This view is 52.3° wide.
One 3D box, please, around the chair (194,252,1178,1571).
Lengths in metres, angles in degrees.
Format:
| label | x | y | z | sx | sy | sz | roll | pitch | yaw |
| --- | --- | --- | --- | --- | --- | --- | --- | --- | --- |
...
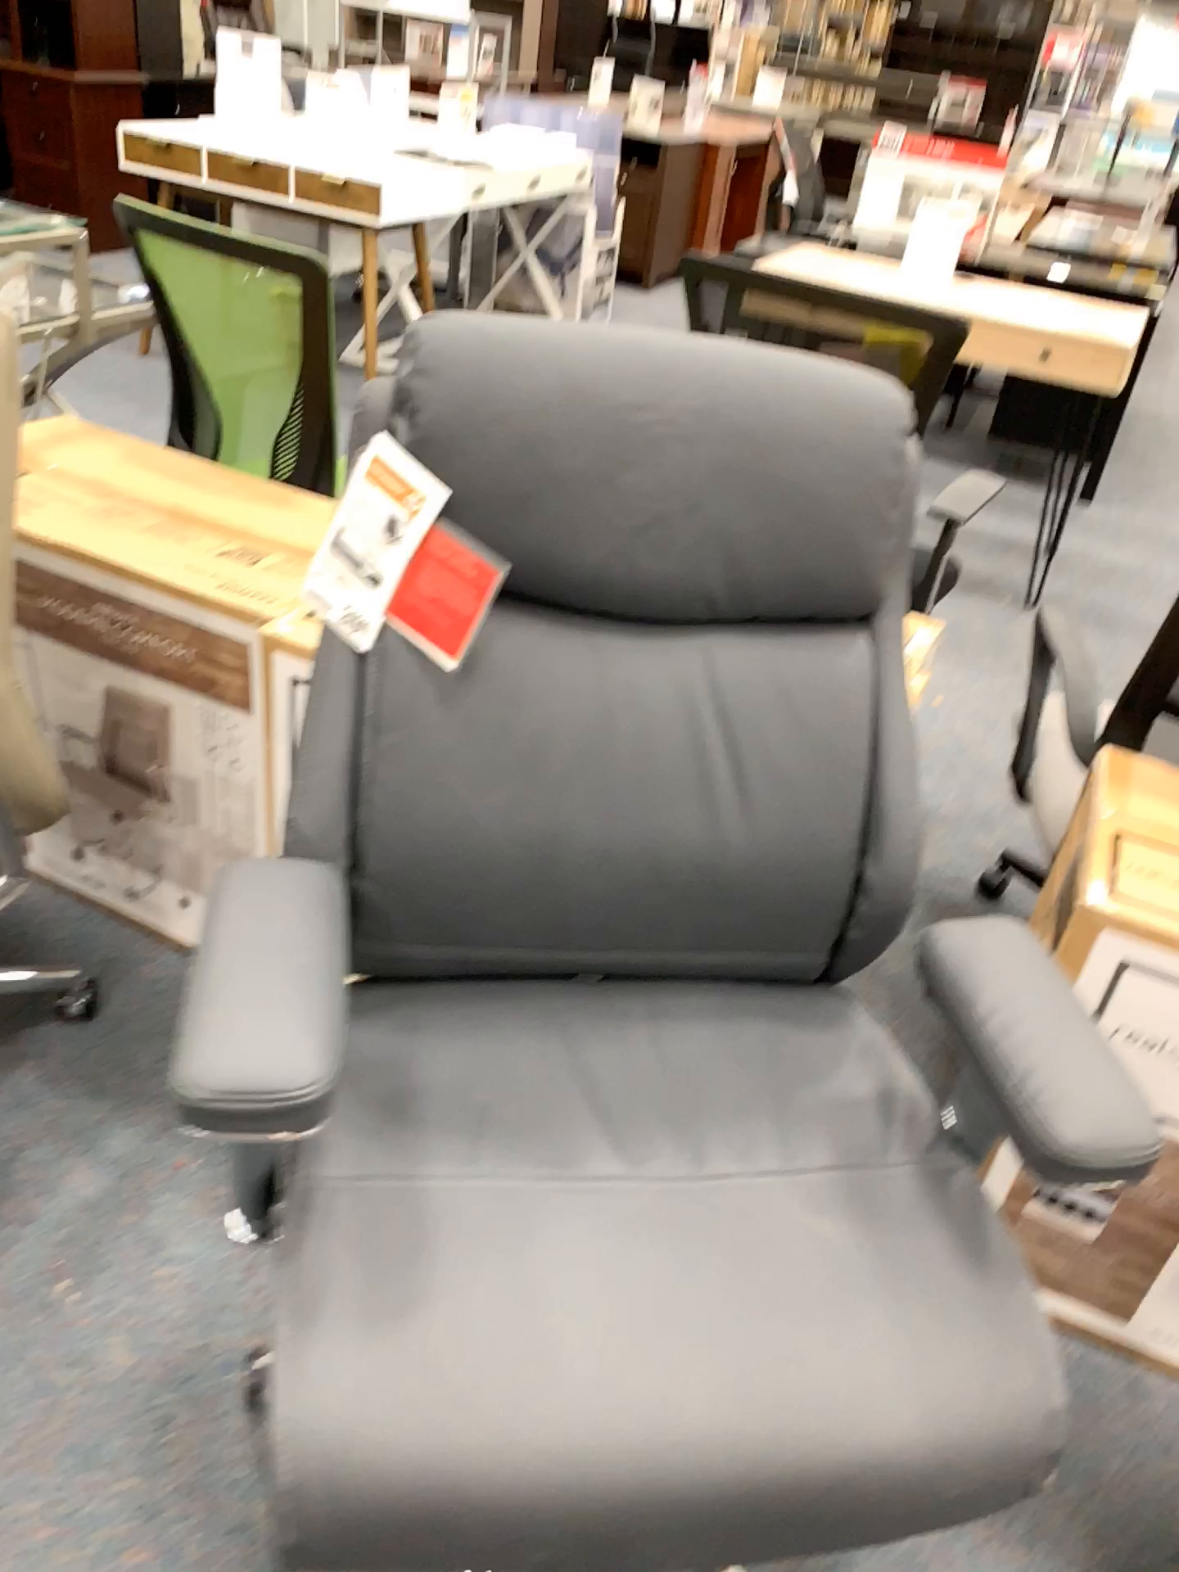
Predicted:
| label | x | y | z | sx | sy | sz | roll | pitch | yaw |
| --- | --- | --- | --- | --- | --- | --- | --- | --- | --- |
| chair | 0.058 | 0.241 | 1.030 | 0.695 | 1.076 | 0.697 | 3 | 33 | -16 |

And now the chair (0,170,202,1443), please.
| label | x | y | z | sx | sy | sz | roll | pitch | yaw |
| --- | --- | --- | --- | --- | --- | --- | --- | --- | --- |
| chair | -1.008 | -0.049 | 1.319 | 0.784 | 0.976 | 0.718 | 20 | 35 | 17 |

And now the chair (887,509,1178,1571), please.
| label | x | y | z | sx | sy | sz | roll | pitch | yaw |
| --- | --- | --- | --- | --- | --- | --- | --- | --- | --- |
| chair | 0.854 | 0.551 | 0.708 | 0.787 | 1.095 | 0.765 | -21 | 43 | -37 |
